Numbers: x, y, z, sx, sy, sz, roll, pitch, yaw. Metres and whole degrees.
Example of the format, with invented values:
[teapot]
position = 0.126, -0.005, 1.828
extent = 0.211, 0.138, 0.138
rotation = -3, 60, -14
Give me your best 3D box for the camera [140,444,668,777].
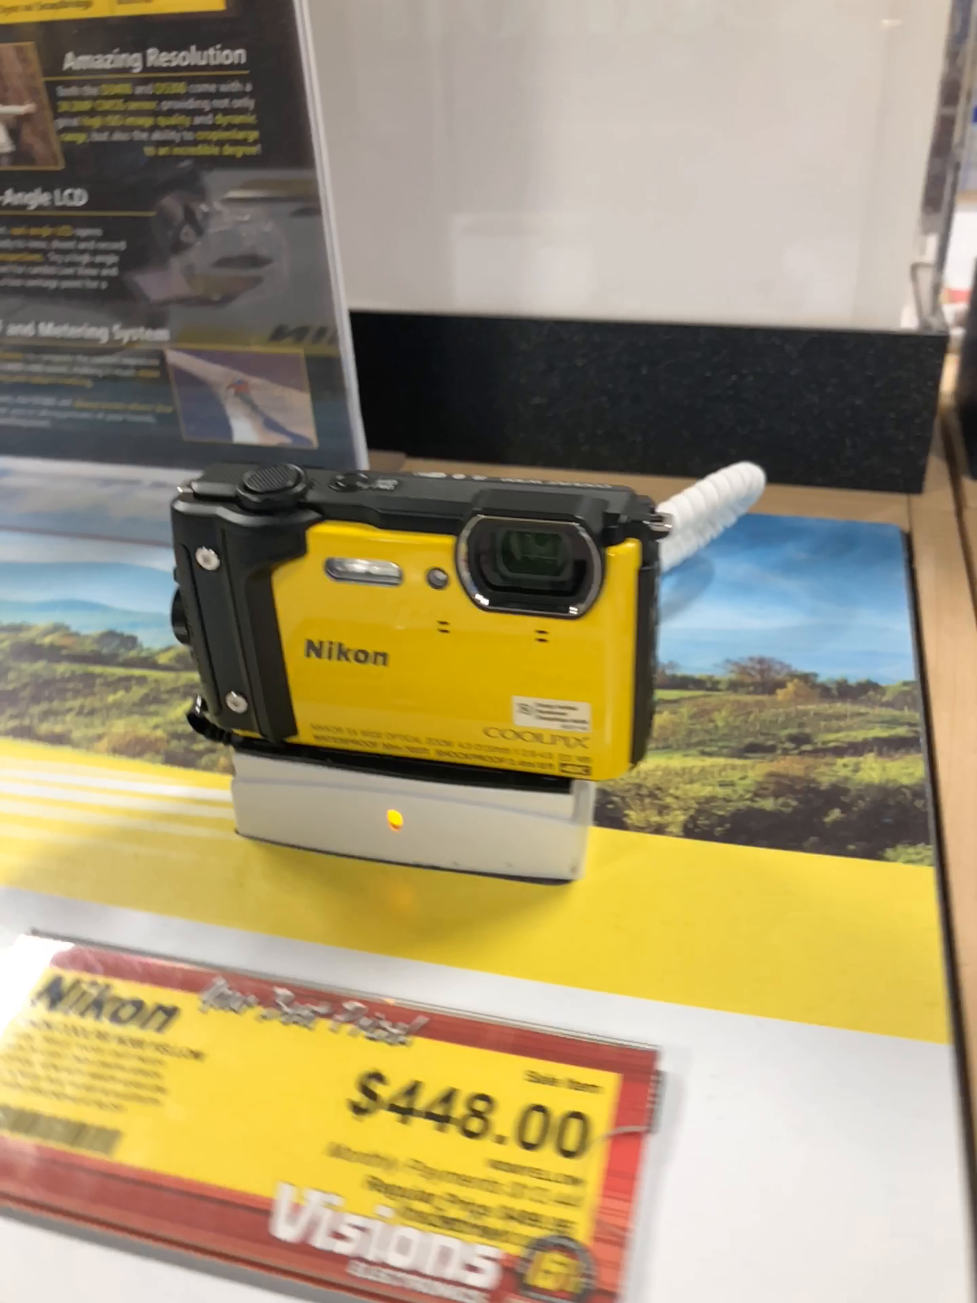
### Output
[camera]
position = -0.017, -0.011, 0.249
extent = 0.110, 0.060, 0.030
rotation = 6, 32, 14
